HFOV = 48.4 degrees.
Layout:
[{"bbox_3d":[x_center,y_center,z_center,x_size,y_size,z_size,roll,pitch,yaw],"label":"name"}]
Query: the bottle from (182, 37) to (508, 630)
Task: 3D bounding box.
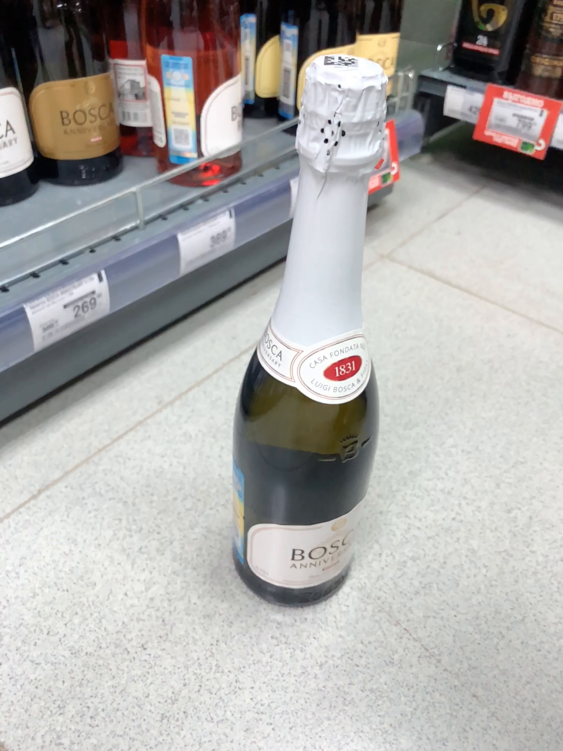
[{"bbox_3d":[0.014,0.001,0.340,0.090,0.308,0.090,2,40,-2],"label":"bottle"}]
